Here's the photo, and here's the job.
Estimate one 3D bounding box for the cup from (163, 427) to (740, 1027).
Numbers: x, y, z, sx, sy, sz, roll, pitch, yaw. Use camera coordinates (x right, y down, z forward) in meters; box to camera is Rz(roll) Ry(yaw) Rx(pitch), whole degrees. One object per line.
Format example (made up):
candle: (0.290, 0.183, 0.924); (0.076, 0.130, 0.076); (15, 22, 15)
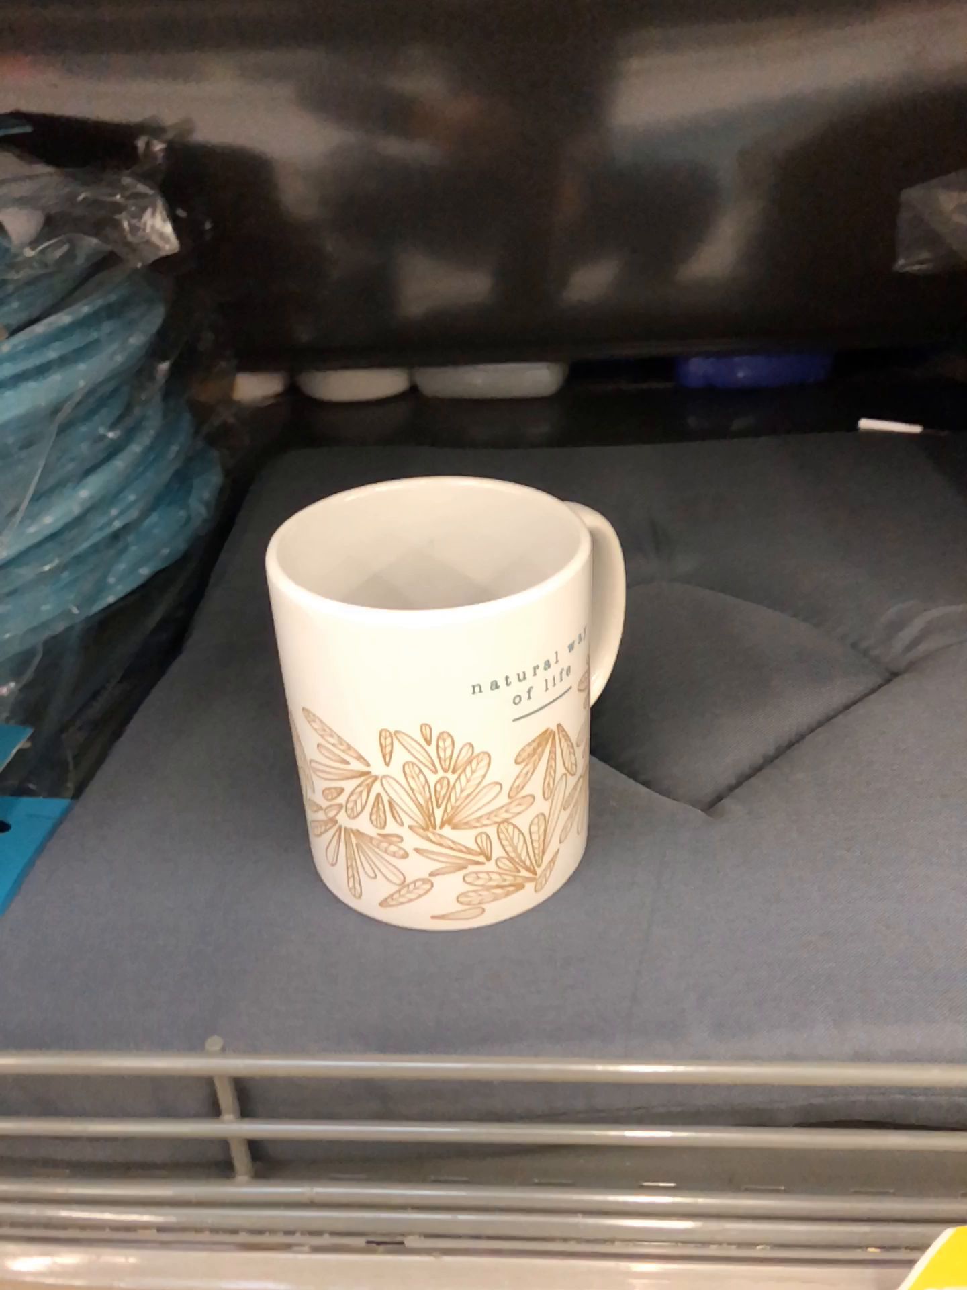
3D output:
cup: (-0.004, 0.012, 0.301); (0.121, 0.099, 0.090); (-28, 38, -36)
